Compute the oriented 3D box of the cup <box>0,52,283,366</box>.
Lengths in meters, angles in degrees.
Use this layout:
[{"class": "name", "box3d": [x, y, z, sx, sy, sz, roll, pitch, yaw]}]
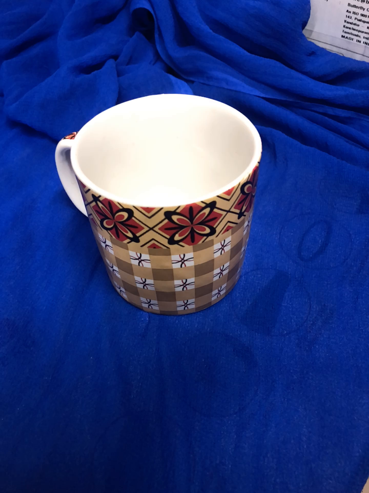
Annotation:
[{"class": "cup", "box3d": [-0.023, -0.016, 0.200, 0.100, 0.099, 0.070, 26, 55, 18]}]
